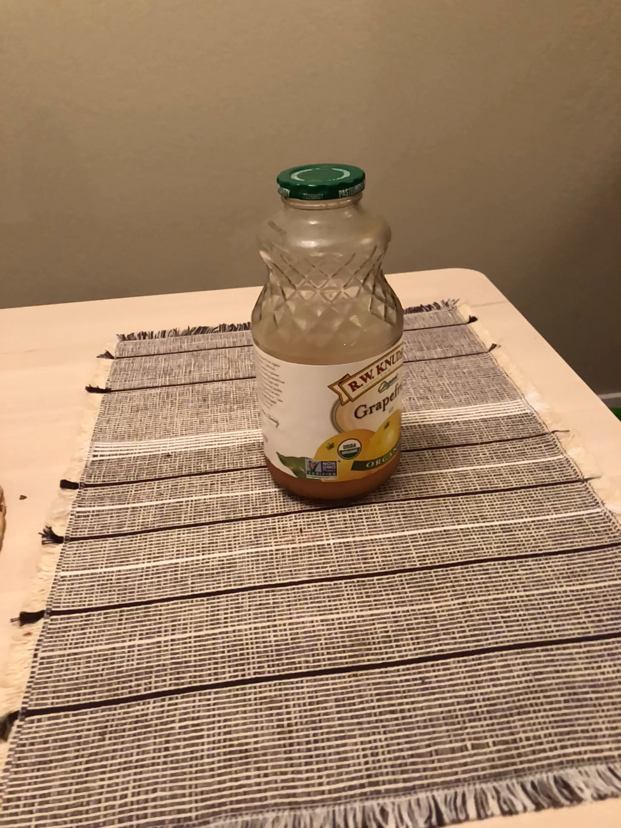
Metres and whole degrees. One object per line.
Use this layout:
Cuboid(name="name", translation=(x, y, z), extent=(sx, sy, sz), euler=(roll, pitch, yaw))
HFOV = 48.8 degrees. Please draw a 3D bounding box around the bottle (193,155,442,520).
Cuboid(name="bottle", translation=(0.010, -0.051, 0.434), extent=(0.100, 0.189, 0.101), euler=(-3, 31, 2))
